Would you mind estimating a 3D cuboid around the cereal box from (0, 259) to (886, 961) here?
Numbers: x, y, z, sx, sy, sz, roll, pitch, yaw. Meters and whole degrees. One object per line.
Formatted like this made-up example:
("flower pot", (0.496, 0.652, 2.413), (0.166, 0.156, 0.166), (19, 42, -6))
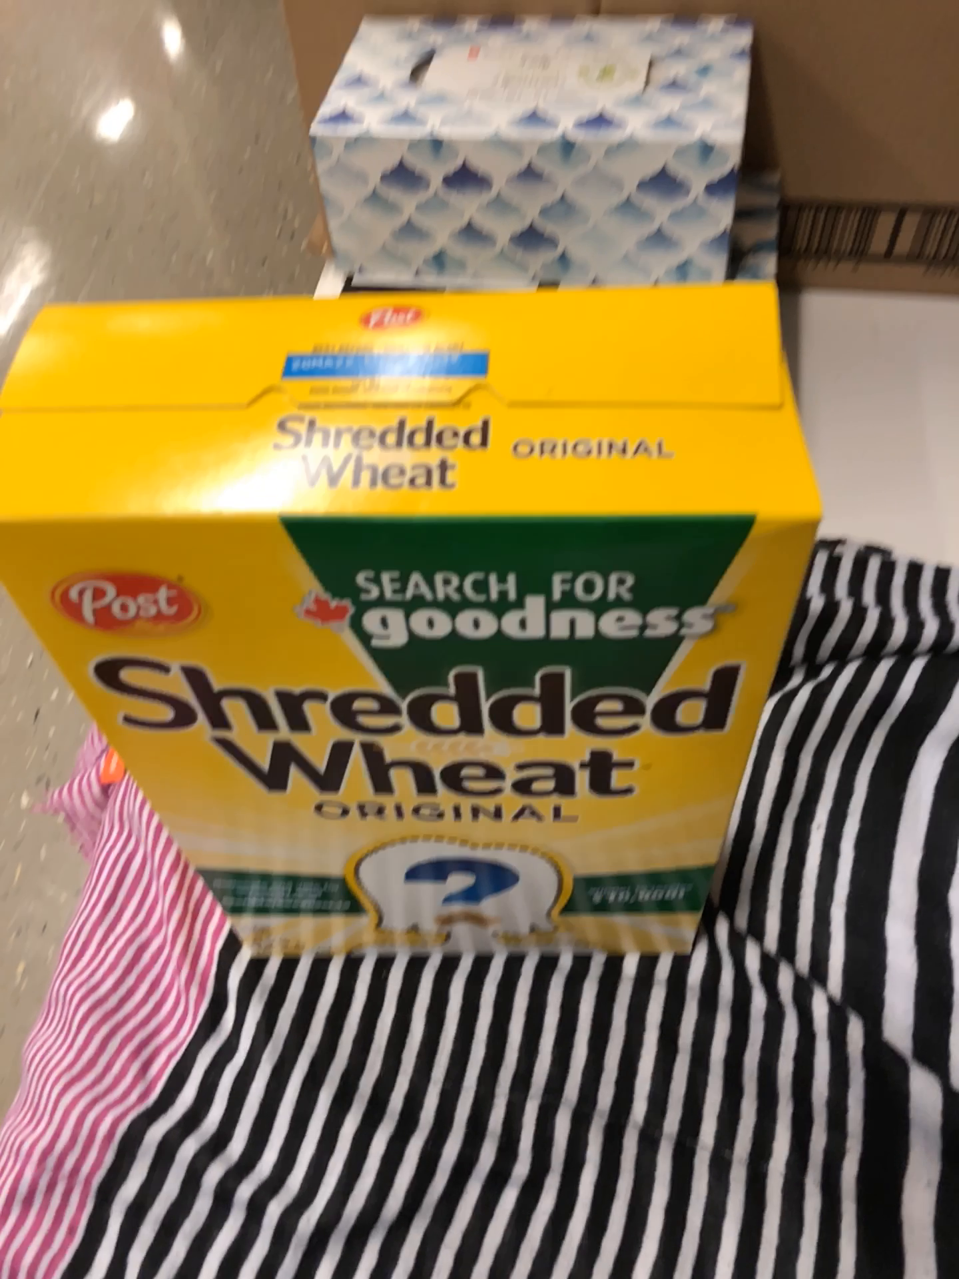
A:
("cereal box", (-0.014, 0.021, 0.353), (0.210, 0.269, 0.080), (-1, 54, 3))
